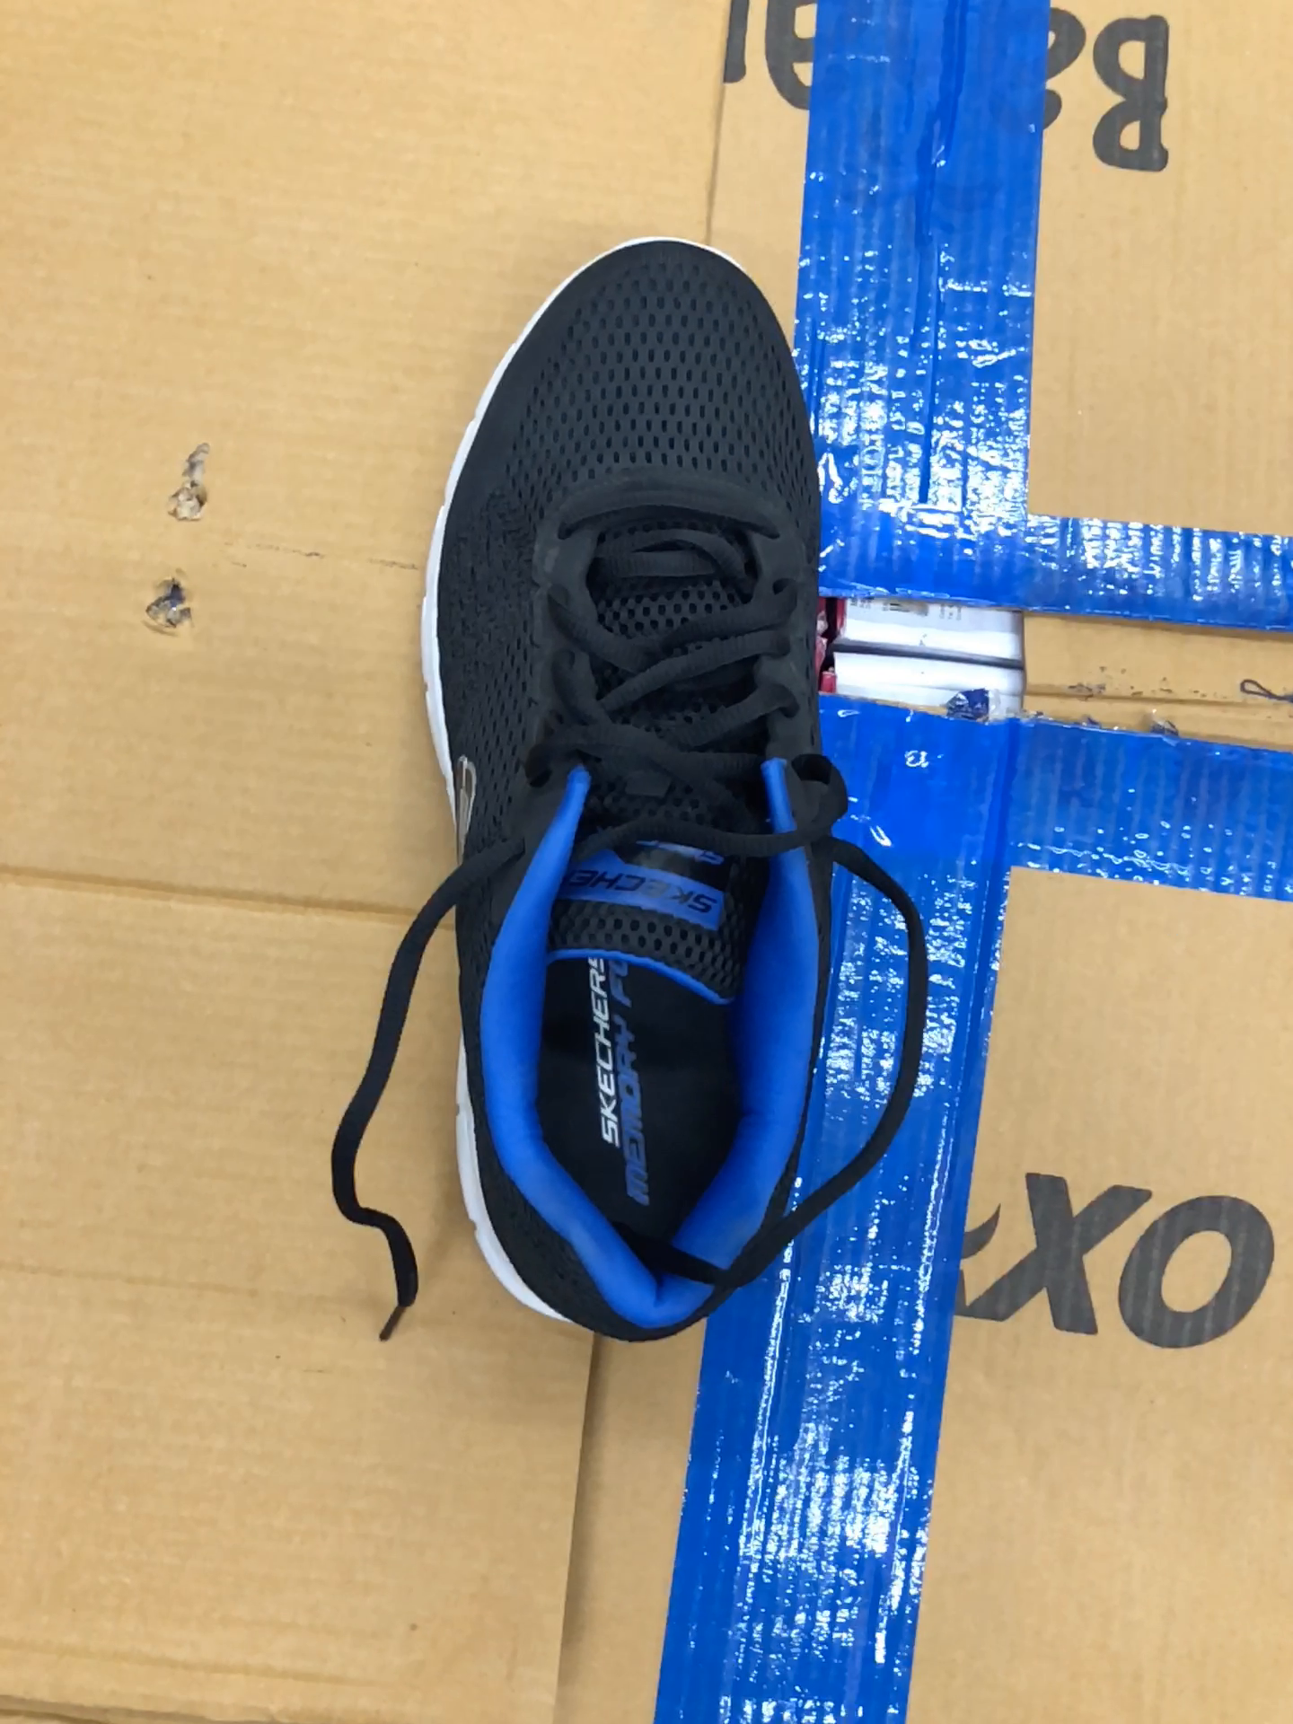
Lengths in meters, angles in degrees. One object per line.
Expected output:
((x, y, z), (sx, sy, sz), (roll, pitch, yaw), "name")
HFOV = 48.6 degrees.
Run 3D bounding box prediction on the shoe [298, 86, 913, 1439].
((-0.008, -0.021, 0.351), (0.114, 0.106, 0.278), (3, 86, -2), "shoe")
